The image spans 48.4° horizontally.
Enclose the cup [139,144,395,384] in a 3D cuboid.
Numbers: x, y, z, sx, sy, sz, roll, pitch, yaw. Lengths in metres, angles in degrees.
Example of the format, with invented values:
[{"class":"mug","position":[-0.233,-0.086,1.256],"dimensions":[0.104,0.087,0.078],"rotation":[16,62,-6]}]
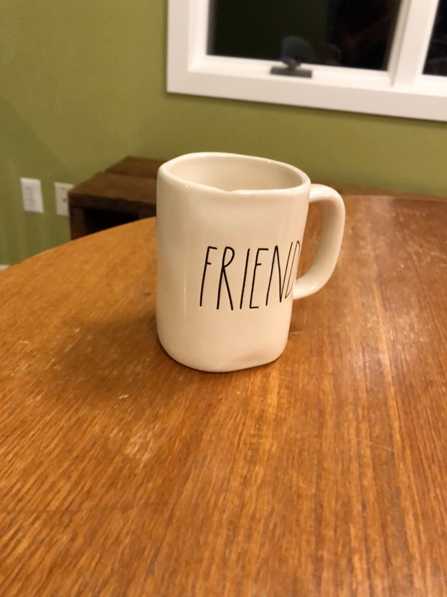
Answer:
[{"class":"cup","position":[0.019,-0.029,0.316],"dimensions":[0.125,0.114,0.084],"rotation":[-9,31,-23]}]
